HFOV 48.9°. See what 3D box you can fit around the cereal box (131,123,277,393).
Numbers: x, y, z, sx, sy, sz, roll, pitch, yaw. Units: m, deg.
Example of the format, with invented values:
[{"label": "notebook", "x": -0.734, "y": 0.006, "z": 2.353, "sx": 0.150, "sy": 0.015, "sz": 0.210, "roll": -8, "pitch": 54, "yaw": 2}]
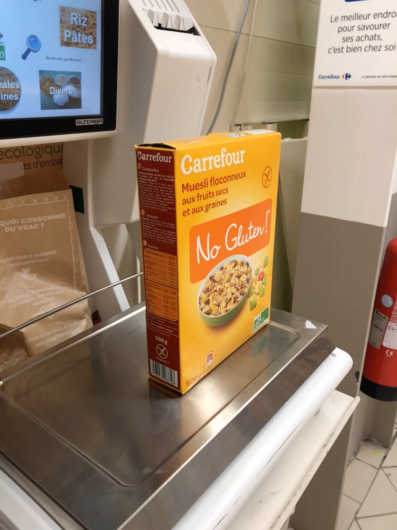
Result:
[{"label": "cereal box", "x": 0.014, "y": -0.021, "z": 0.497, "sx": 0.050, "sy": 0.259, "sz": 0.191, "roll": 15, "pitch": 25, "yaw": 33}]
